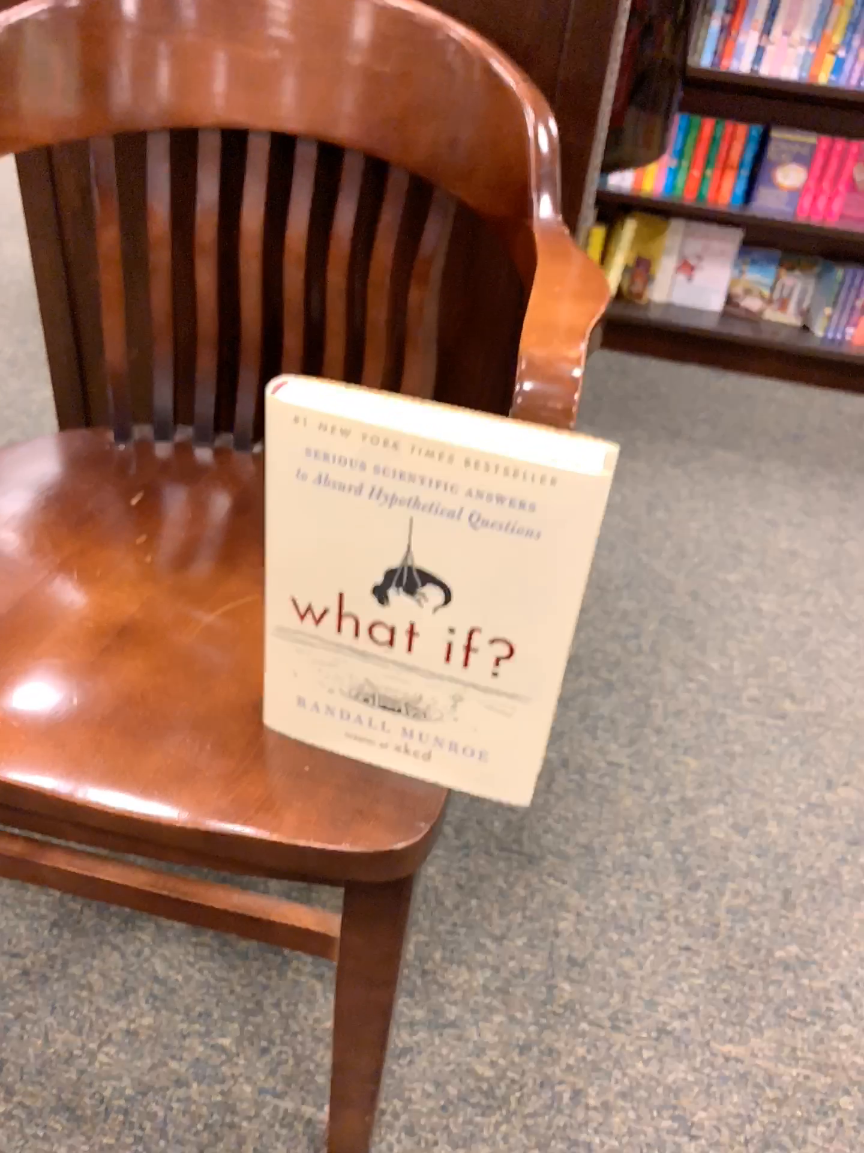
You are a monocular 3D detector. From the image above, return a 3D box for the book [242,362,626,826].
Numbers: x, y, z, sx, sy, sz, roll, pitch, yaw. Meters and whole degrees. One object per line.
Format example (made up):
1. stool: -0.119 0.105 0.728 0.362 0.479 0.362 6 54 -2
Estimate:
1. book: -0.011 0.017 0.517 0.188 0.239 0.050 14 34 10
